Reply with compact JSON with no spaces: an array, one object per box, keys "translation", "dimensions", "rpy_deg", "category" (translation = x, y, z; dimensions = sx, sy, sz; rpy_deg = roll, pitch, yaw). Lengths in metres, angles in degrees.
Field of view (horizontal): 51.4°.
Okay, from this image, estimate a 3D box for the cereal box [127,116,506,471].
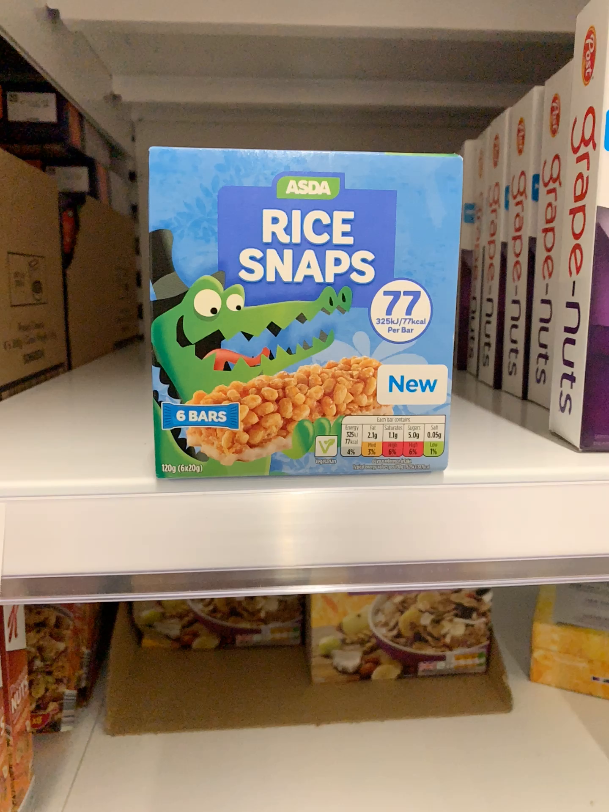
[{"translation":[0.003,-0.043,0.267],"dimensions":[0.140,0.130,0.050],"rpy_deg":[0,10,-6],"category":"cereal box"}]
